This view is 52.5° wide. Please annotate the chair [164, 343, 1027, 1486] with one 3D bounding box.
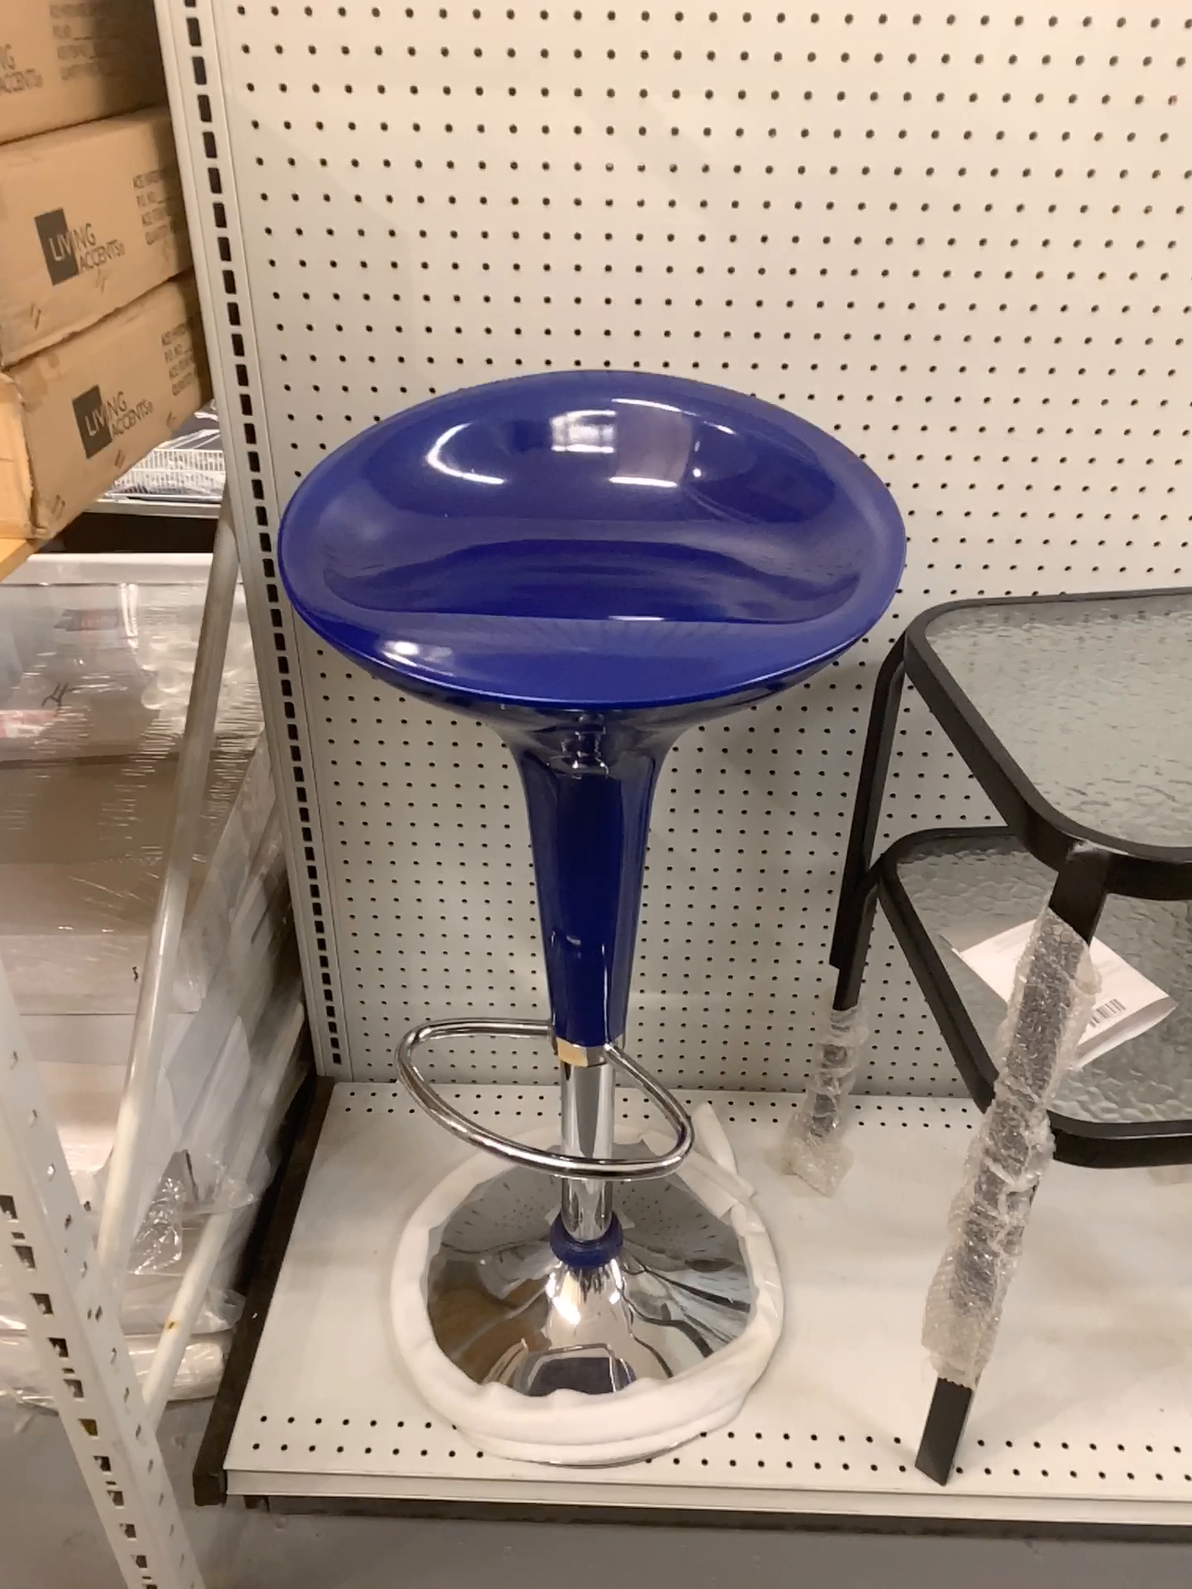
[{"bbox_3d":[0.004,0.118,1.007,0.434,0.852,0.419,2,32,2],"label":"chair"}]
